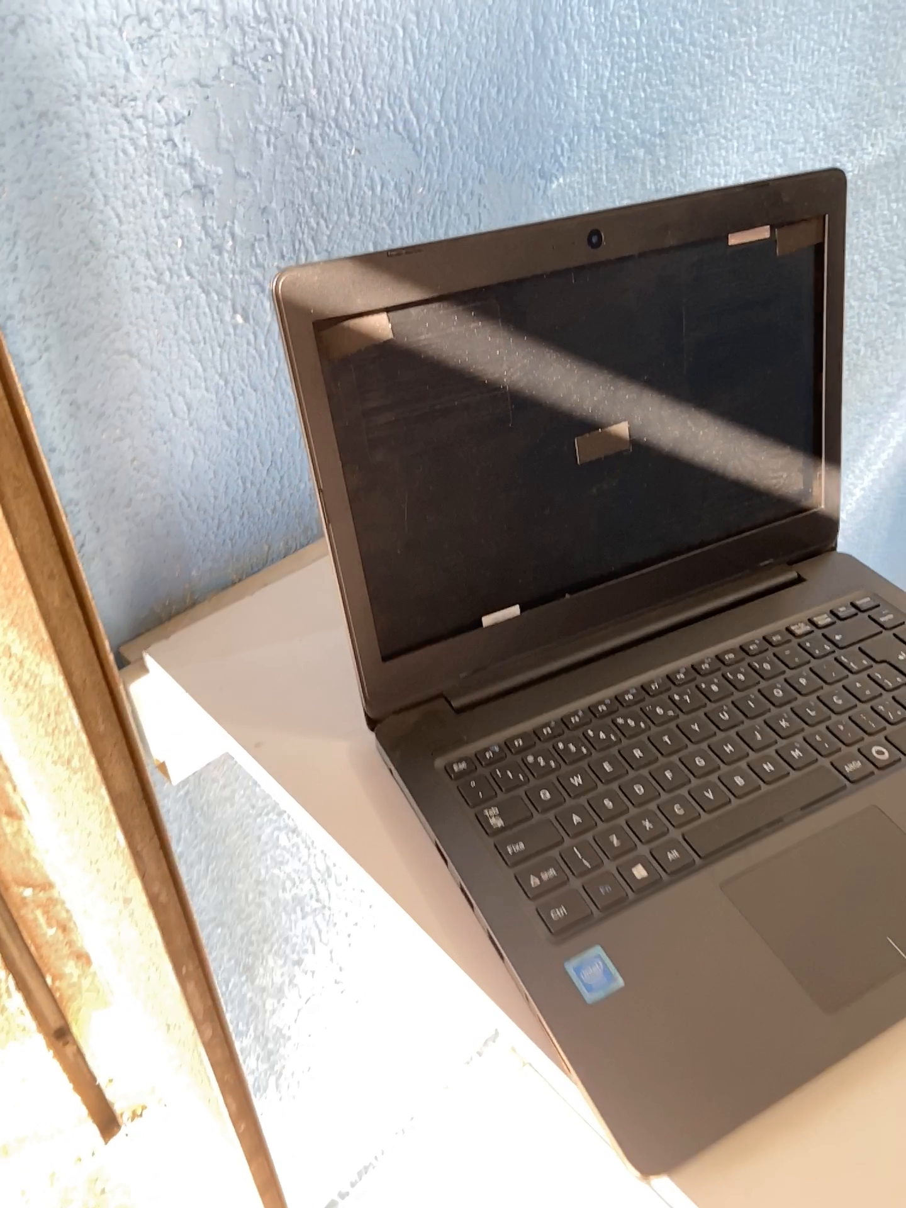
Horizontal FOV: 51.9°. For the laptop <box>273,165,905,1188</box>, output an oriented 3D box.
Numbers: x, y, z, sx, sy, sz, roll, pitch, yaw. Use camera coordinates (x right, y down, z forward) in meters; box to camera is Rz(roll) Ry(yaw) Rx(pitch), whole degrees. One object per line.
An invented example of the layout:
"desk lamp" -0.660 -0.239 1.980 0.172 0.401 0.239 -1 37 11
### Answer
"laptop" 0.143 -0.023 0.423 0.338 0.214 0.311 -19 43 -21
